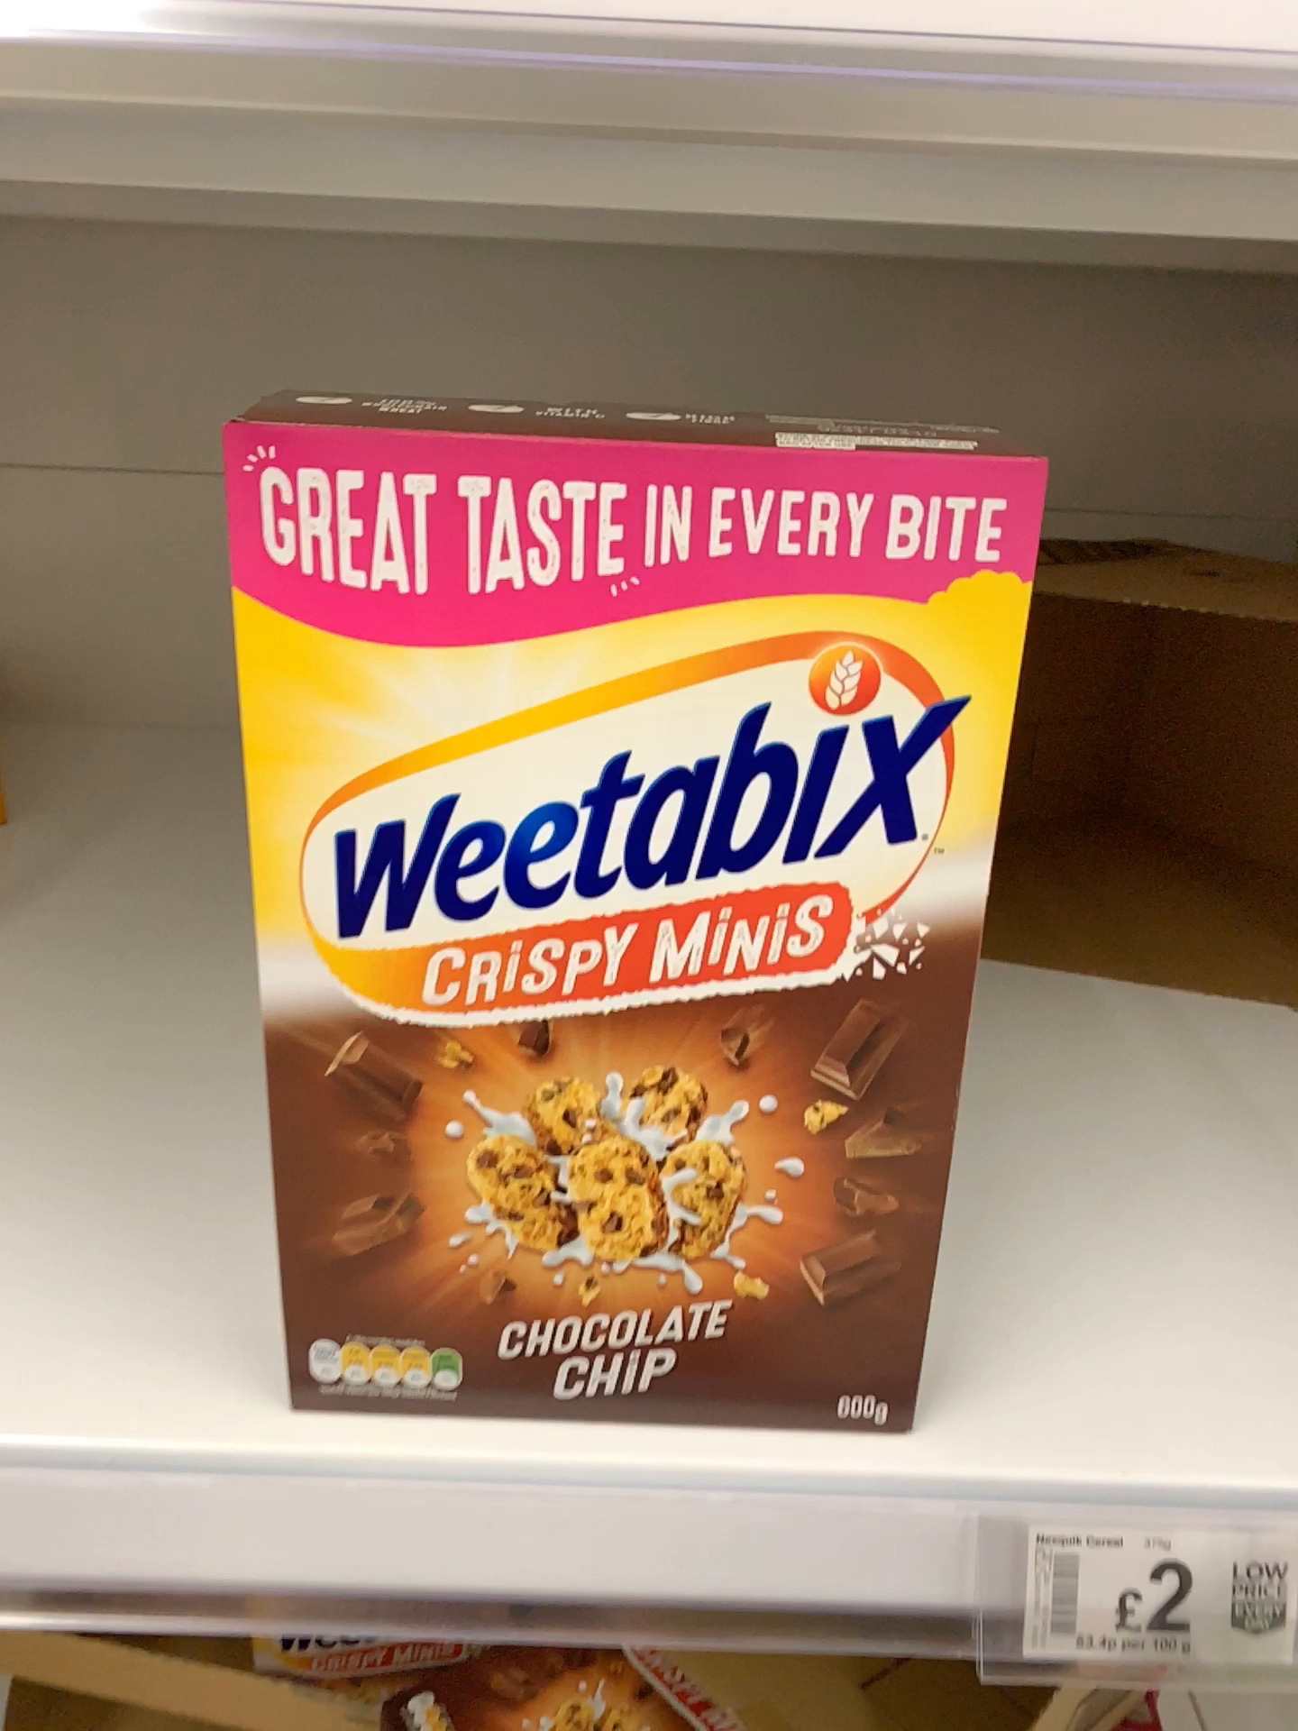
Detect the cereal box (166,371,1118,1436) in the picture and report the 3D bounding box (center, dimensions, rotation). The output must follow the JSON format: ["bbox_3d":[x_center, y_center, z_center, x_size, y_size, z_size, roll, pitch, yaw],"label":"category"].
[{"bbox_3d":[-0.007,0.019,0.377,0.210,0.288,0.071,2,21,0],"label":"cereal box"}]
